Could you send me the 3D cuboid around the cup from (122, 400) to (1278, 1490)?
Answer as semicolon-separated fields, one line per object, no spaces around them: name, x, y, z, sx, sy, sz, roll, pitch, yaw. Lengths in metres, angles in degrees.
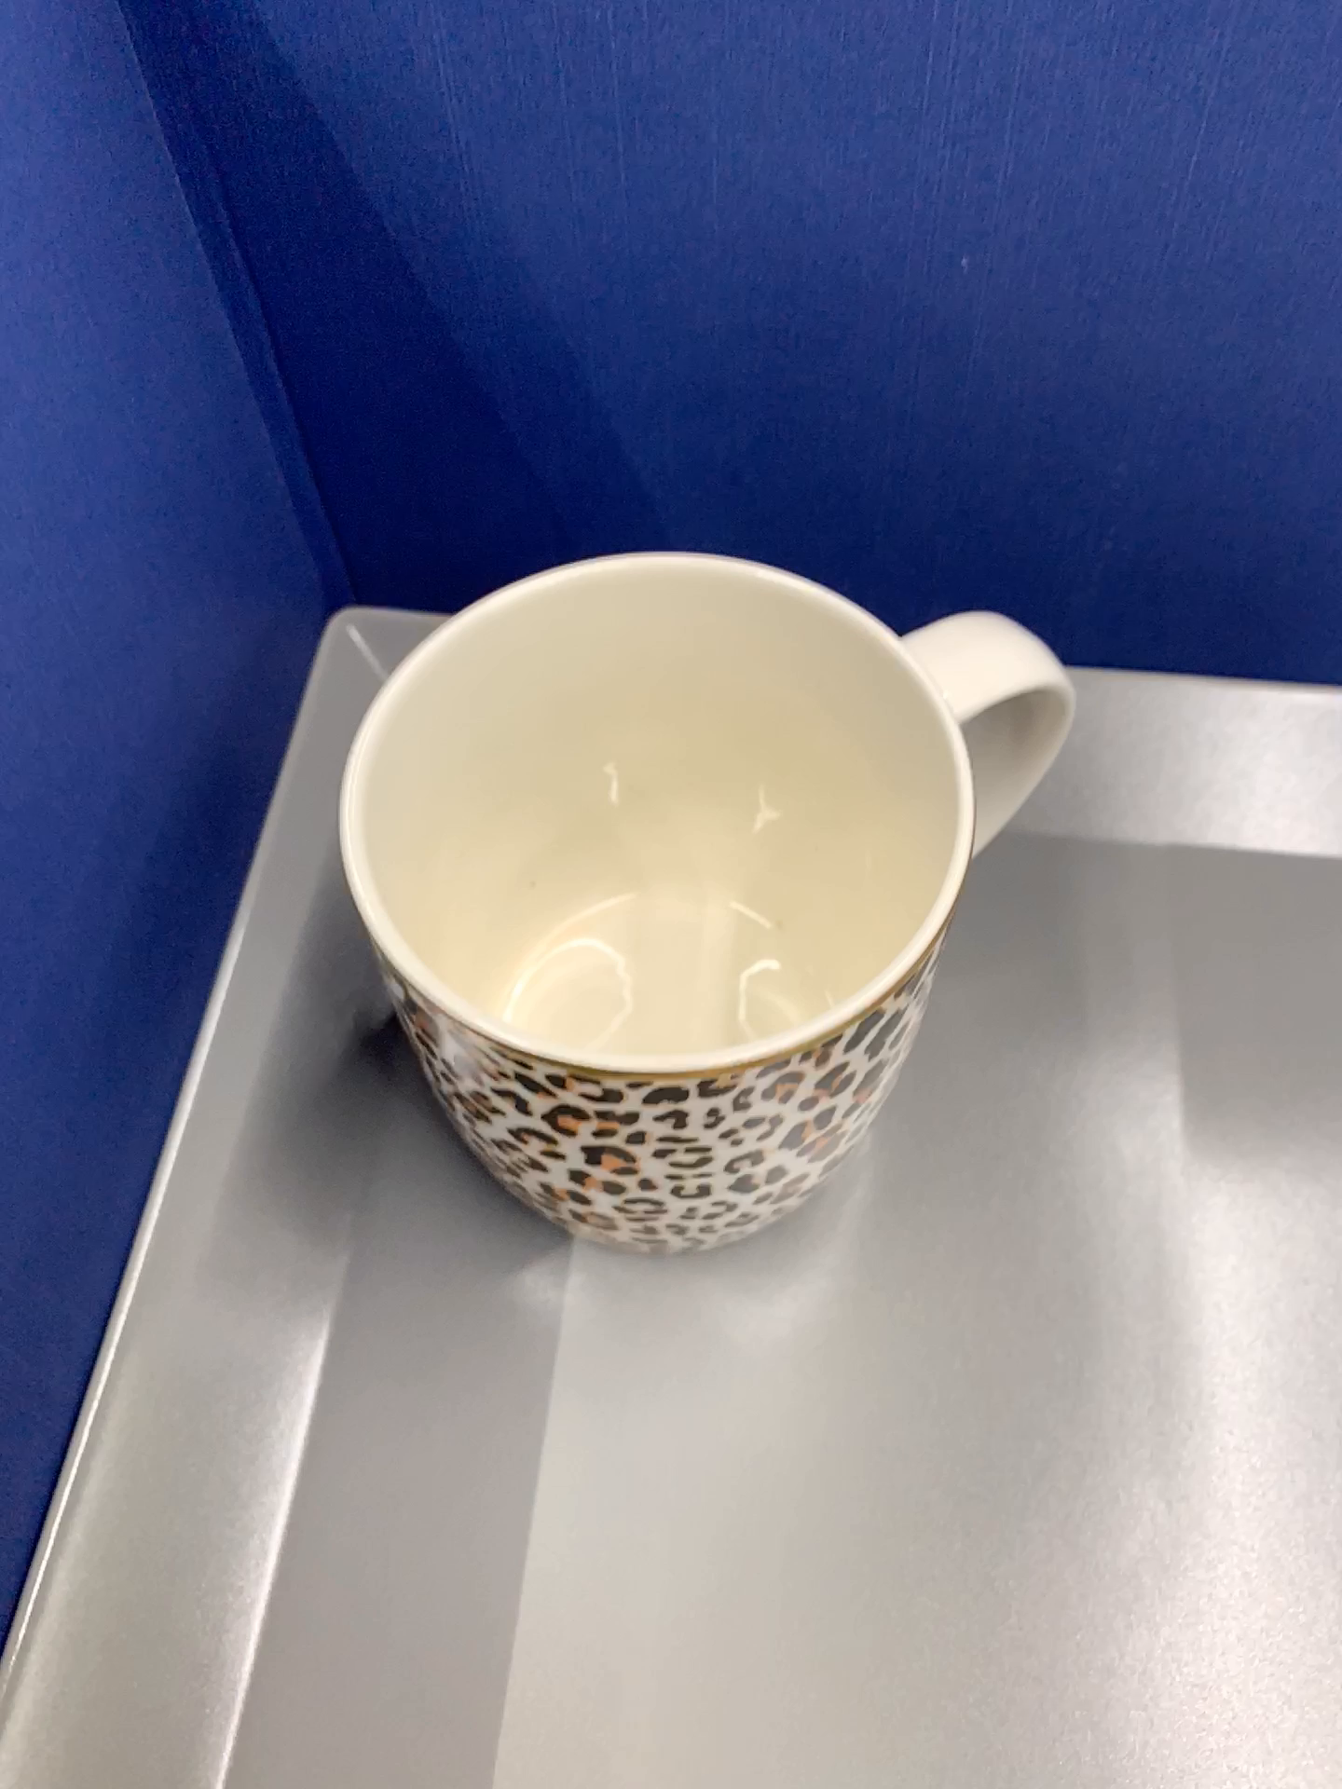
cup;0.004;0.008;0.234;0.126;0.095;0.099;-32;61;-17
